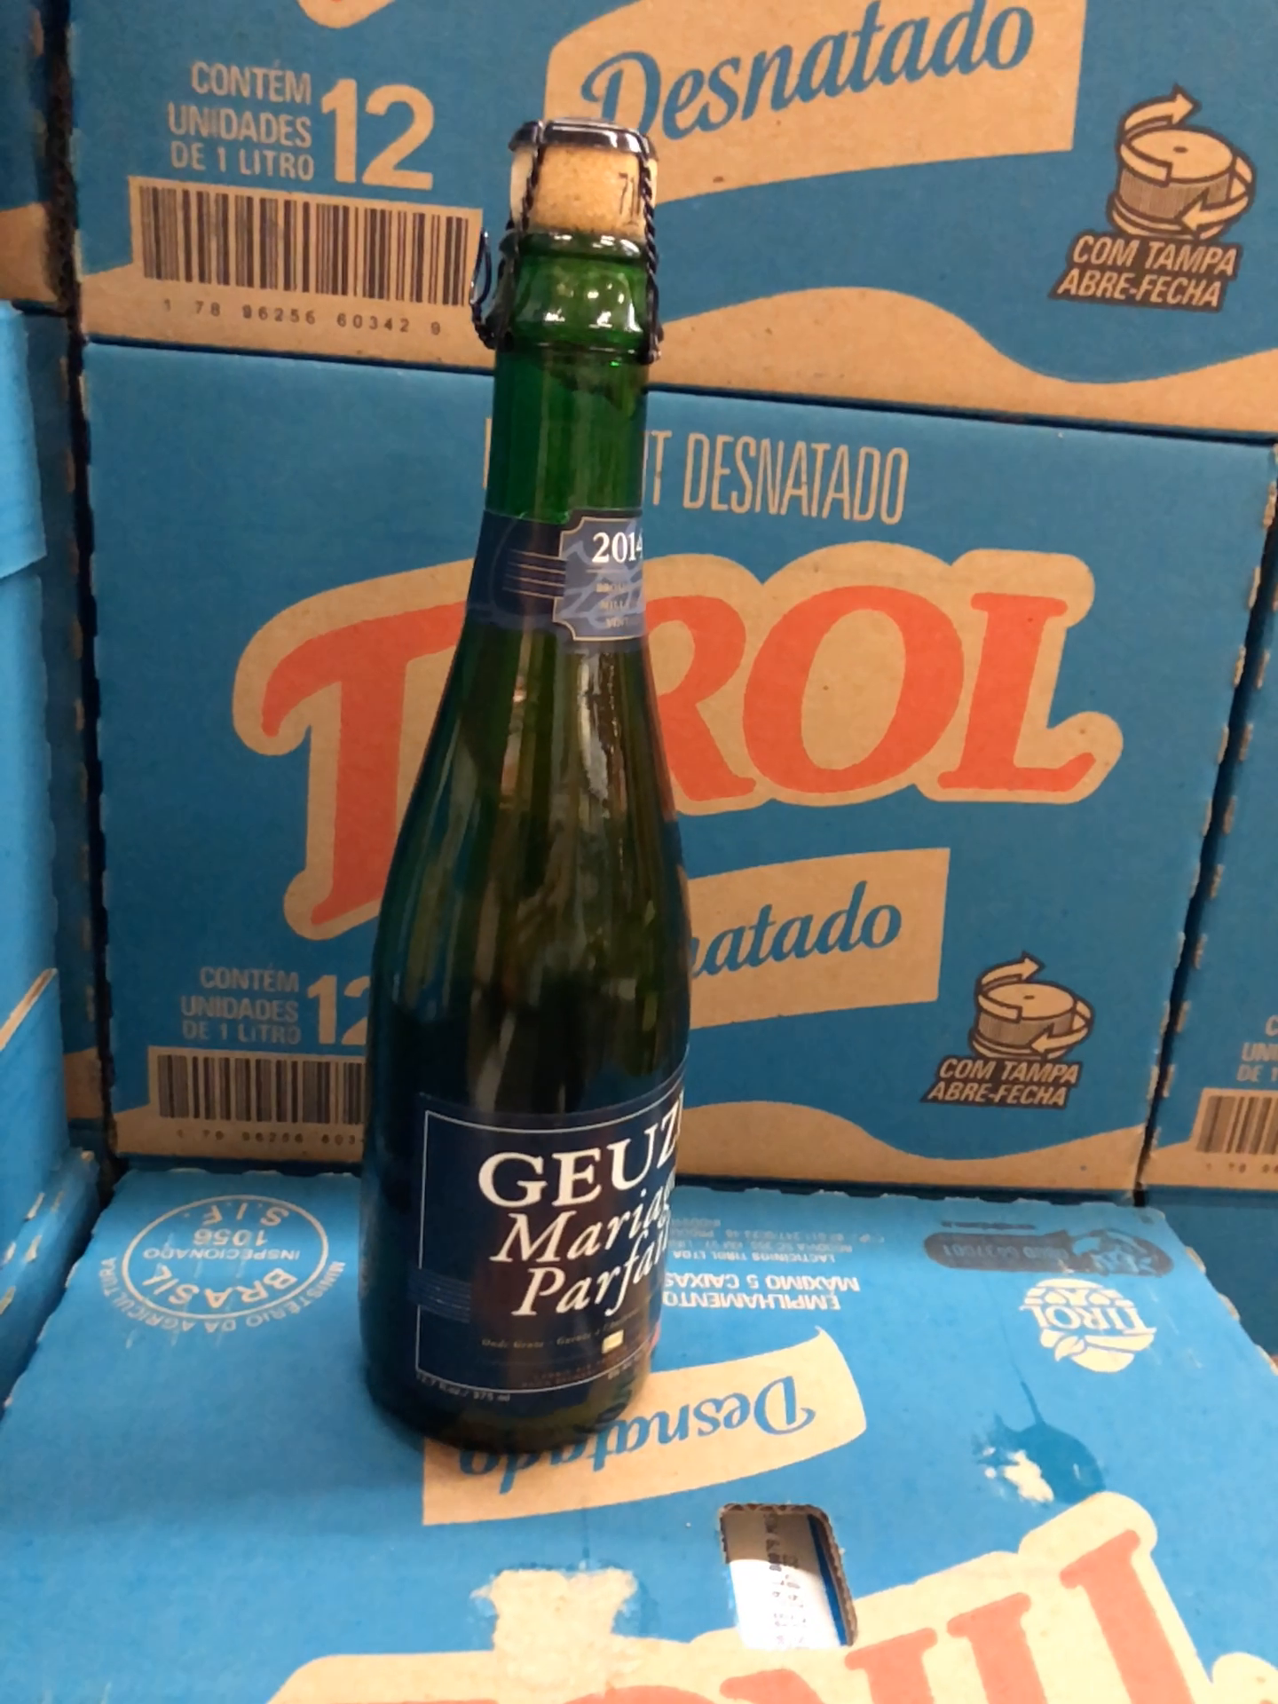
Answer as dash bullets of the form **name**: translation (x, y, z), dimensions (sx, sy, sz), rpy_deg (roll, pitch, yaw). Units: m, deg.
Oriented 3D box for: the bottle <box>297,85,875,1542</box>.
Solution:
- **bottle**: translation (-0.018, -0.001, 0.284), dimensions (0.060, 0.258, 0.070), rpy_deg (22, 23, 40)
